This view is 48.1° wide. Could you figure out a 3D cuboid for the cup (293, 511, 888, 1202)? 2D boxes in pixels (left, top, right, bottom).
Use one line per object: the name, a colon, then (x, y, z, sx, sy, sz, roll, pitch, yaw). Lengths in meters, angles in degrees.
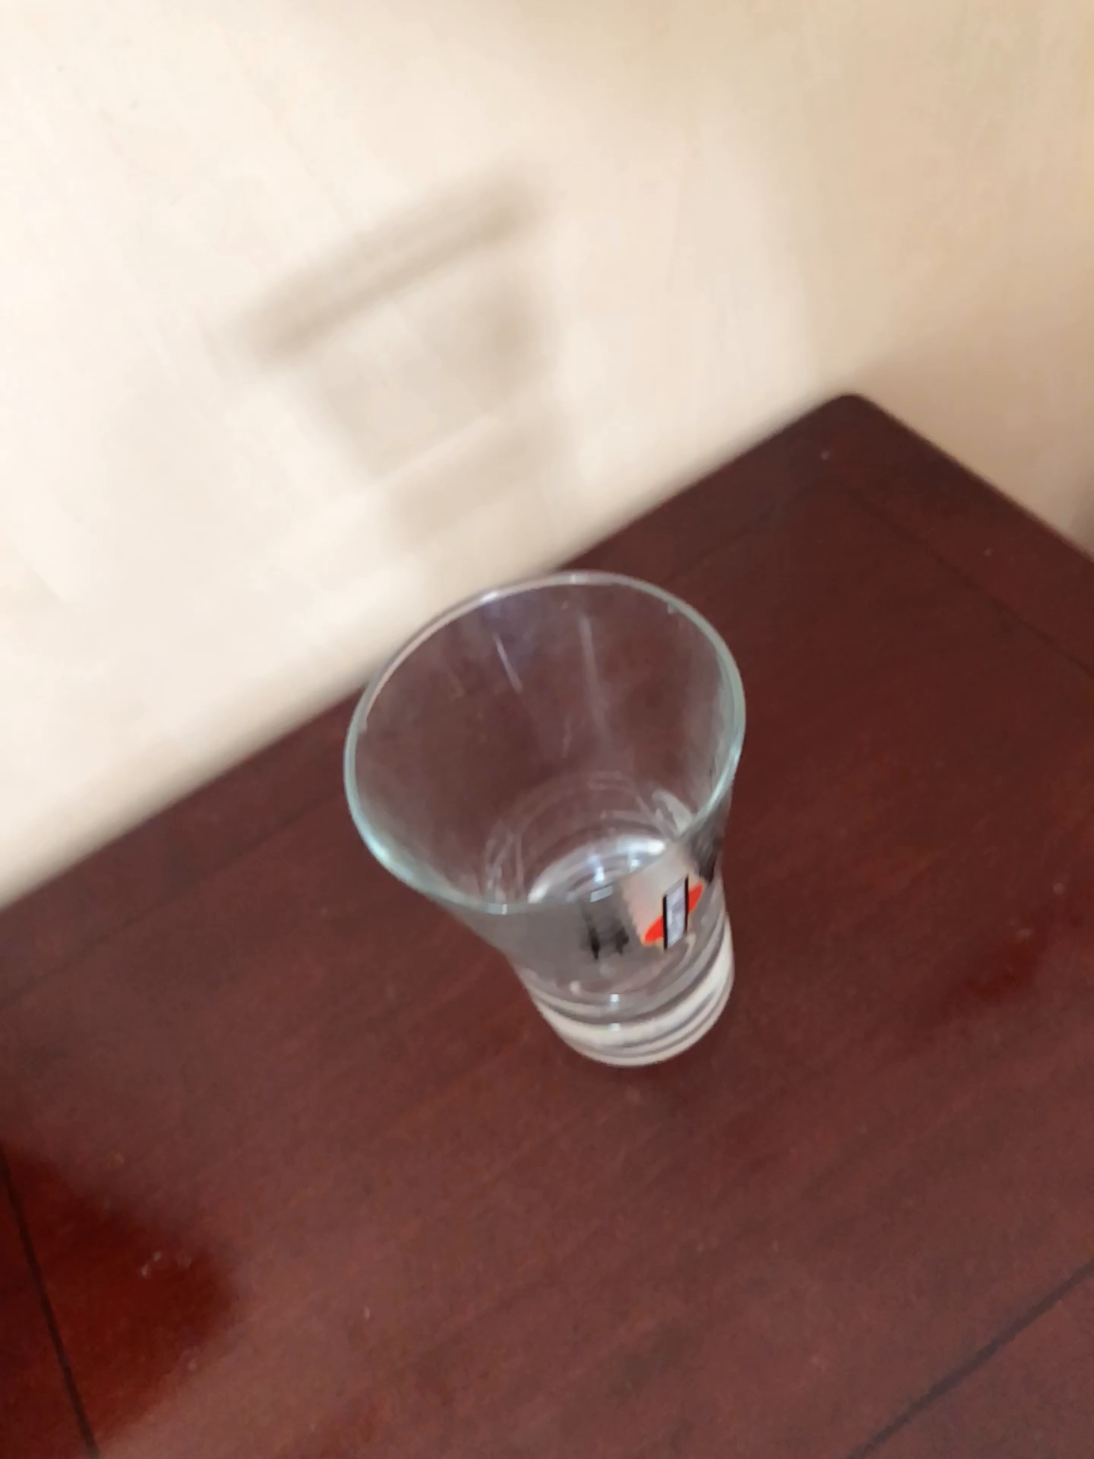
cup: (0.017, 0.035, 0.308, 0.094, 0.118, 0.094, -8, 53, 11)
